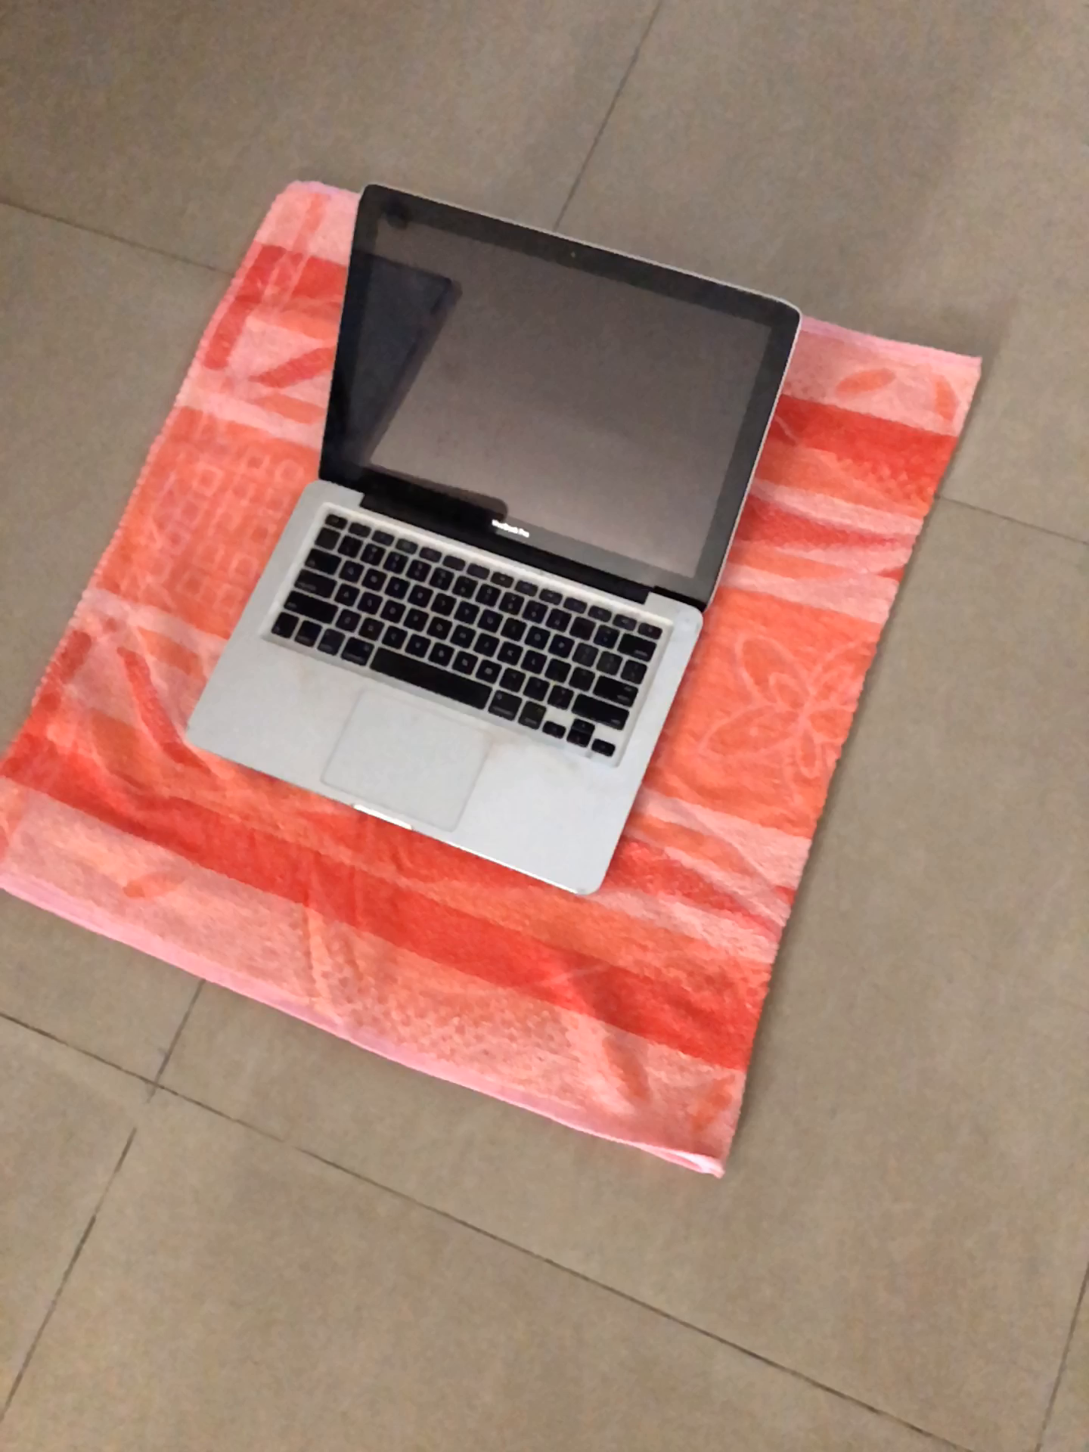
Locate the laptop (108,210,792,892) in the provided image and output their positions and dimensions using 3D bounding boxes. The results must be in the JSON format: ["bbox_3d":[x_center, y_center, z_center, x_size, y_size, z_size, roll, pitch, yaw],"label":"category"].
[{"bbox_3d":[-0.047,-0.123,0.821,0.309,0.133,0.373,20,74,9],"label":"laptop"}]
